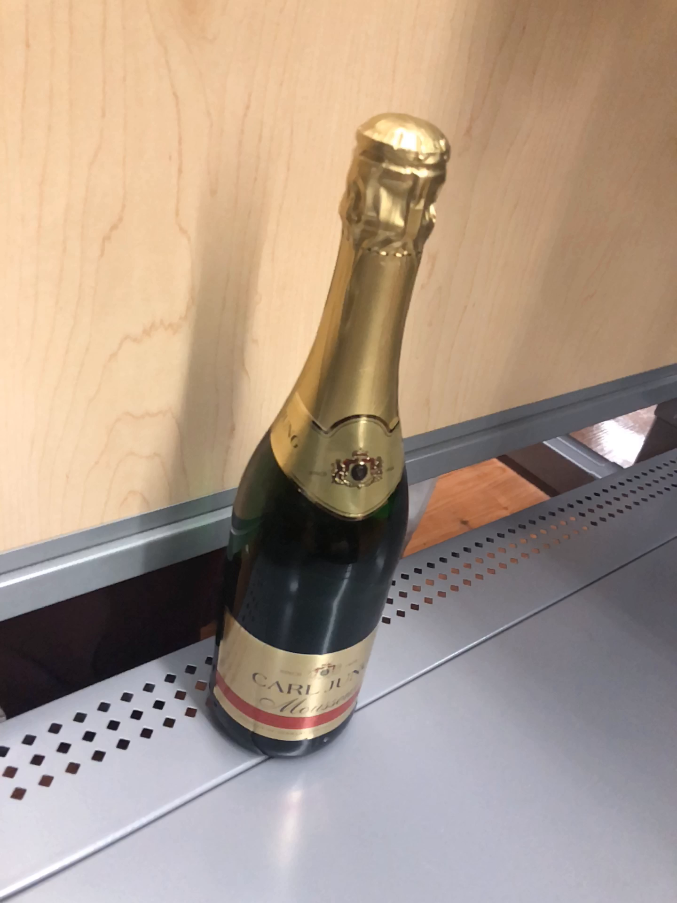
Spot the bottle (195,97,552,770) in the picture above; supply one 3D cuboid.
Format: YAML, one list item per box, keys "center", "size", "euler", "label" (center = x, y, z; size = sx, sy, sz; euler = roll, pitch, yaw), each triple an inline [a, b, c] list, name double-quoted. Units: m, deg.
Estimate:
- center: [-0.009, 0.013, 0.342]
  size: [0.090, 0.298, 0.091]
  euler: [8, 32, -5]
  label: "bottle"
